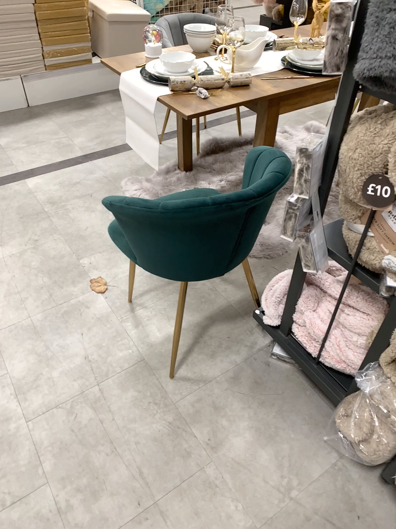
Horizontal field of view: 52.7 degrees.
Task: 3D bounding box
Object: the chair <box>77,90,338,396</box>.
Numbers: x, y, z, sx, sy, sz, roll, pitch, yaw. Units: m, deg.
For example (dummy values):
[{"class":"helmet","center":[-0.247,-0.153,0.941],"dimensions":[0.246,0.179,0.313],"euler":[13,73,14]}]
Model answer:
[{"class":"chair","center":[0.003,-0.081,1.375],"dimensions":[0.541,0.754,0.528],"euler":[-21,46,-22]}]
